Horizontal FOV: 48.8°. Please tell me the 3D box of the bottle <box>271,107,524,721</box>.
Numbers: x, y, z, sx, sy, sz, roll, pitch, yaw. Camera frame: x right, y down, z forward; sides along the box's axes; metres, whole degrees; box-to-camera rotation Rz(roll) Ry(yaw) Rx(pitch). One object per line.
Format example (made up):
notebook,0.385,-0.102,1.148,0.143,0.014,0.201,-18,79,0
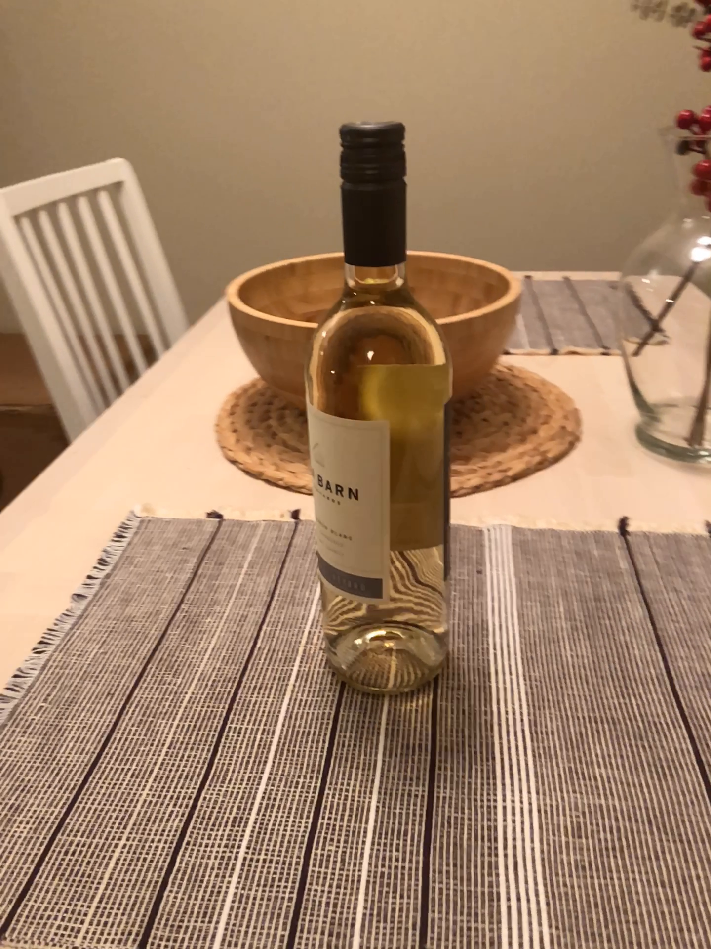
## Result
bottle,0.021,-0.024,0.409,0.080,0.298,0.080,-2,27,1
